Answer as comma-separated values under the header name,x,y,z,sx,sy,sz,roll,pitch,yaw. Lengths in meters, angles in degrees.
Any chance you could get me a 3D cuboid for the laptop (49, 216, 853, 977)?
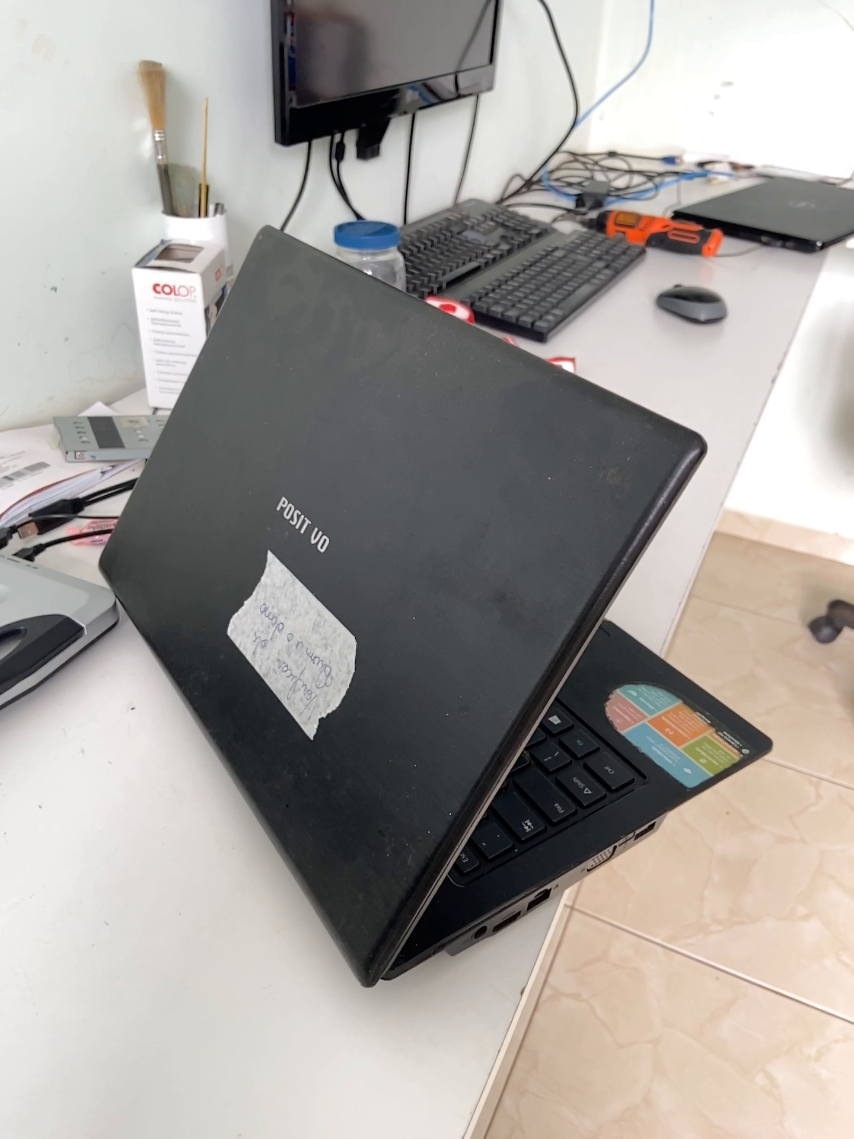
name,x,y,z,sx,sy,sz,roll,pitch,yaw
laptop,-0.008,-0.037,0.449,0.233,0.189,0.331,-19,39,-29
